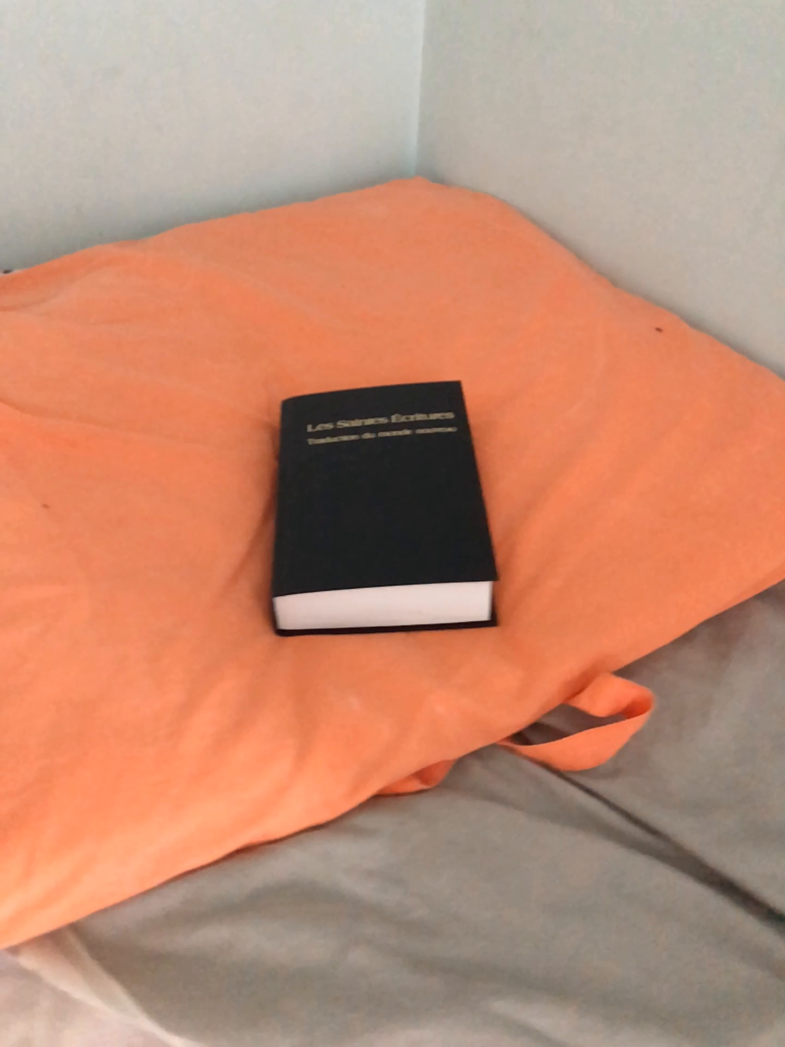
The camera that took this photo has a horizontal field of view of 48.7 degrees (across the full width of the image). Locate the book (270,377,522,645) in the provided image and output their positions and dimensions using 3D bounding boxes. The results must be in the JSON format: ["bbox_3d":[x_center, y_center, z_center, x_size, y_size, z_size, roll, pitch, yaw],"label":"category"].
[{"bbox_3d":[-0.001,-0.015,0.504,0.126,0.030,0.174,-5,46,2],"label":"book"}]
